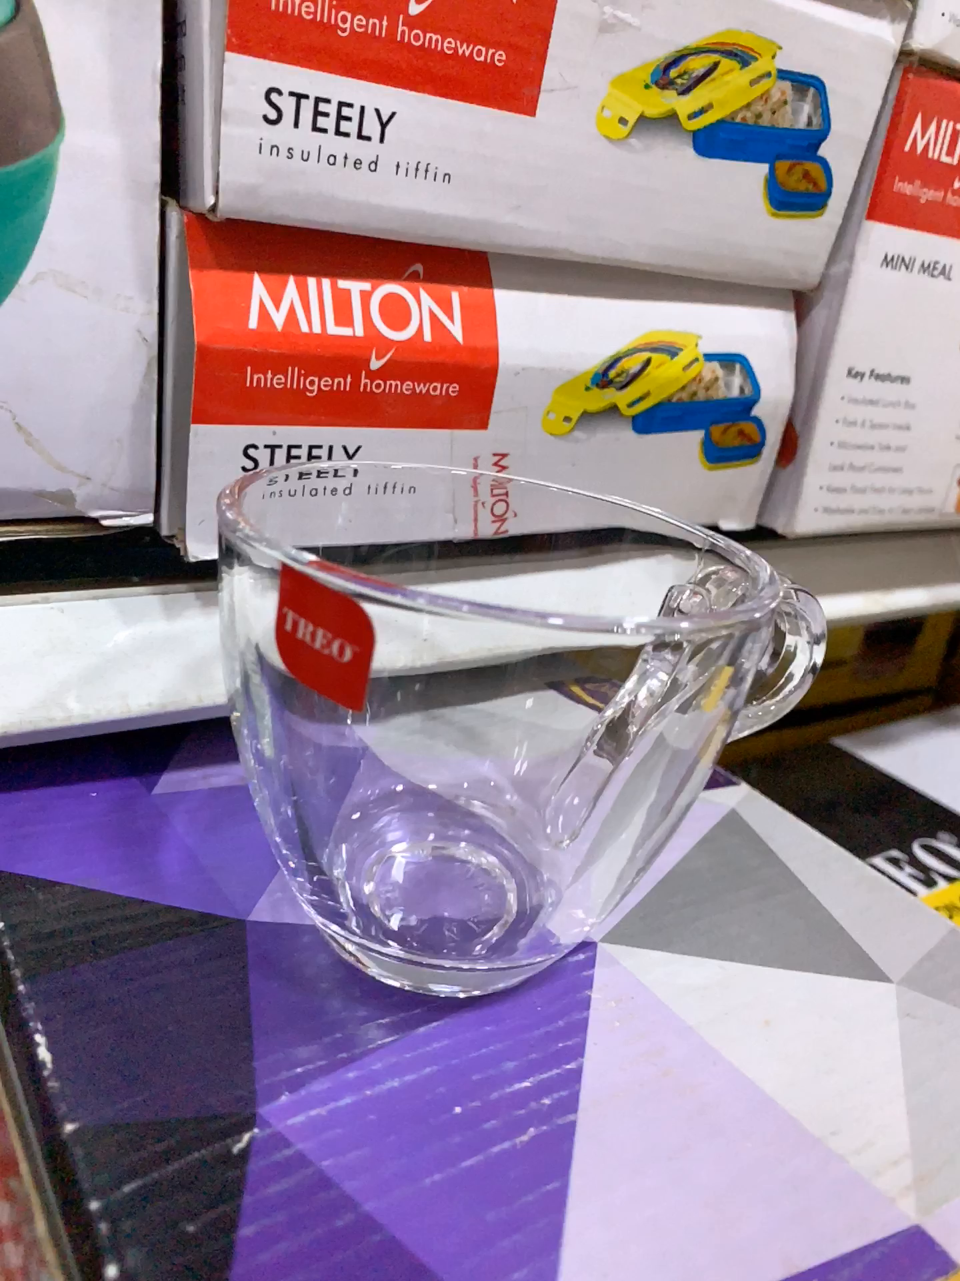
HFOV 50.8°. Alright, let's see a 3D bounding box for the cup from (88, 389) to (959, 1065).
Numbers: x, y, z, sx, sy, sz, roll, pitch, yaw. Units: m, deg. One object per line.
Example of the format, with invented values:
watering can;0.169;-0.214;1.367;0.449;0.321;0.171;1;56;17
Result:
cup;0.003;0.000;0.167;0.110;0.060;0.080;-7;29;-33
